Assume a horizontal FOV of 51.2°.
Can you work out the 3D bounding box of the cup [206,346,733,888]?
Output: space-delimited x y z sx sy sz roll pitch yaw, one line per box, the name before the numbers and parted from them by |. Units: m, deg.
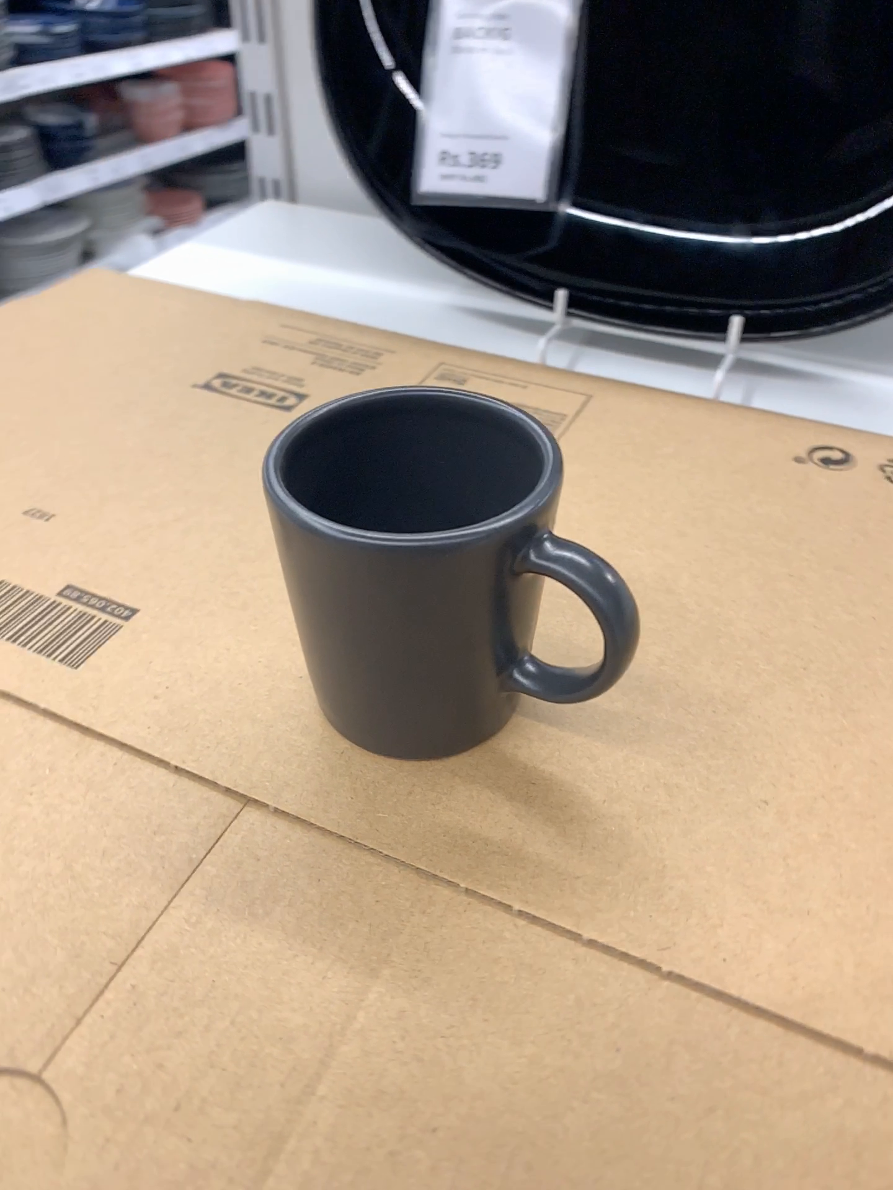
cup | 0.004 0.000 0.198 0.080 0.070 0.060 24 43 26
